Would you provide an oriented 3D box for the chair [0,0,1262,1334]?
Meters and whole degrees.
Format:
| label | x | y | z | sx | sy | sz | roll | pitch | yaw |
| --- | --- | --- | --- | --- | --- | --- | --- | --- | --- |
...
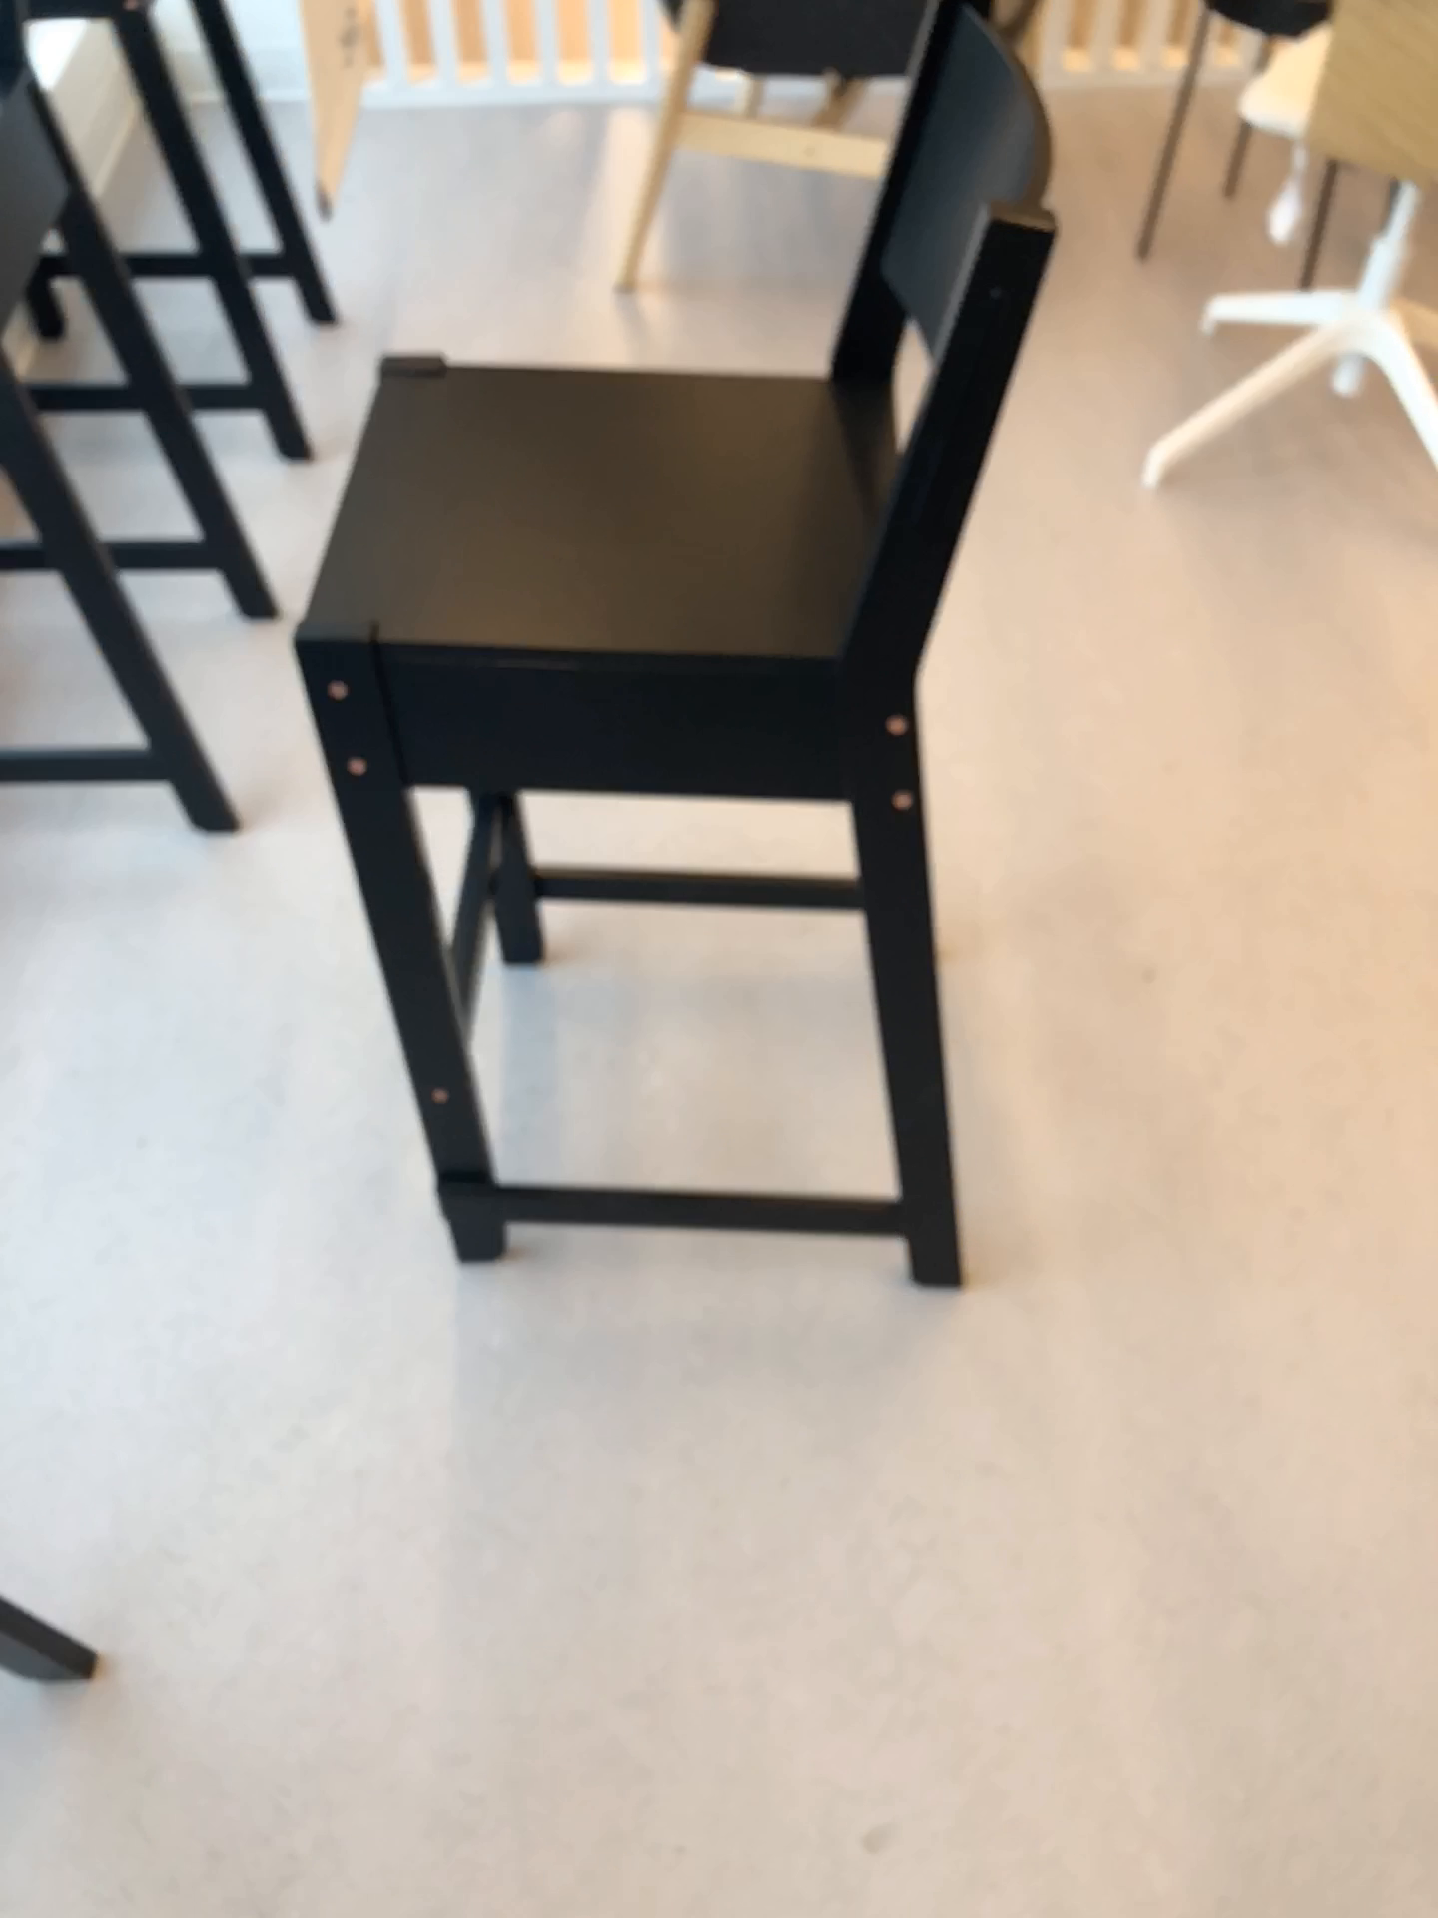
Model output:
| label | x | y | z | sx | sy | sz | roll | pitch | yaw |
| --- | --- | --- | --- | --- | --- | --- | --- | --- | --- |
| chair | -0.053 | -0.198 | 1.232 | 0.580 | 0.994 | 0.554 | 1 | 50 | 1 |
